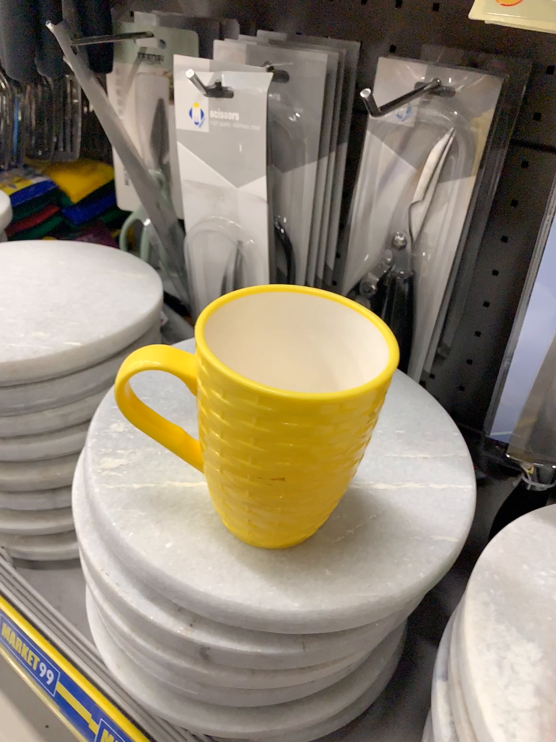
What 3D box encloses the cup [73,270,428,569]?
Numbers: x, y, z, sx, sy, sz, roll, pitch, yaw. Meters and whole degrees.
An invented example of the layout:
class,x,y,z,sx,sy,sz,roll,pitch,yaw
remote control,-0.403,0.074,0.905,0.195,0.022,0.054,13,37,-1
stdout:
class,x,y,z,sx,sy,sz,roll,pitch,yaw
cup,-0.016,0.017,0.255,0.120,0.090,0.090,-1,35,-9
